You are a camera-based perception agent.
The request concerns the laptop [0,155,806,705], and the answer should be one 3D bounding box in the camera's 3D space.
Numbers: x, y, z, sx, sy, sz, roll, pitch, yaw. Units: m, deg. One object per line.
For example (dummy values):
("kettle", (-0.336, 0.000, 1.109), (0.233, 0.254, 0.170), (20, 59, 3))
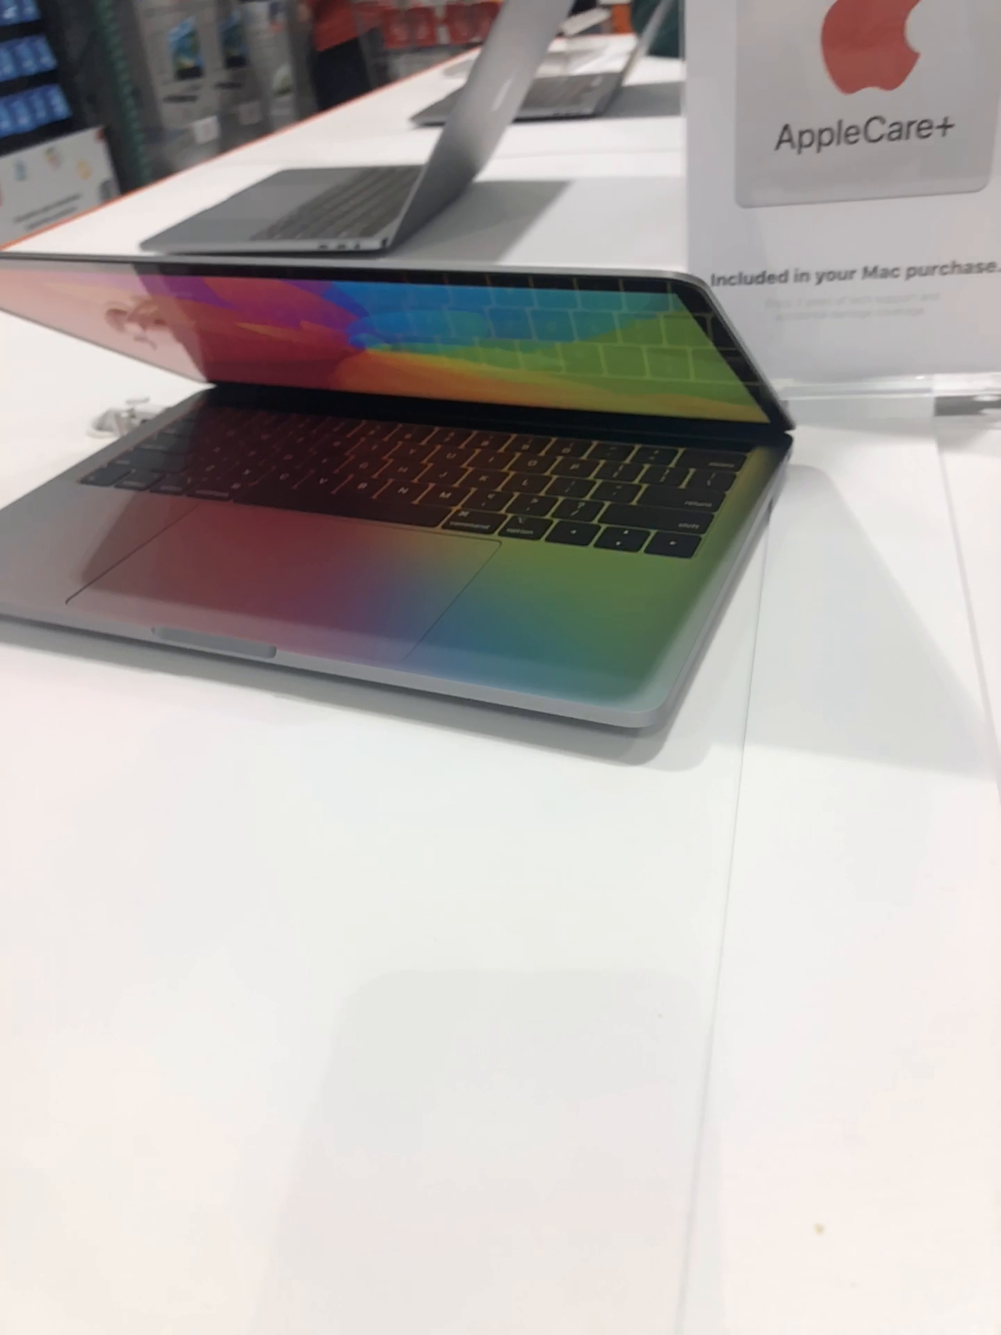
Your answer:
("laptop", (-0.059, -0.114, 0.418), (0.297, 0.109, 0.211), (10, 36, 21))
